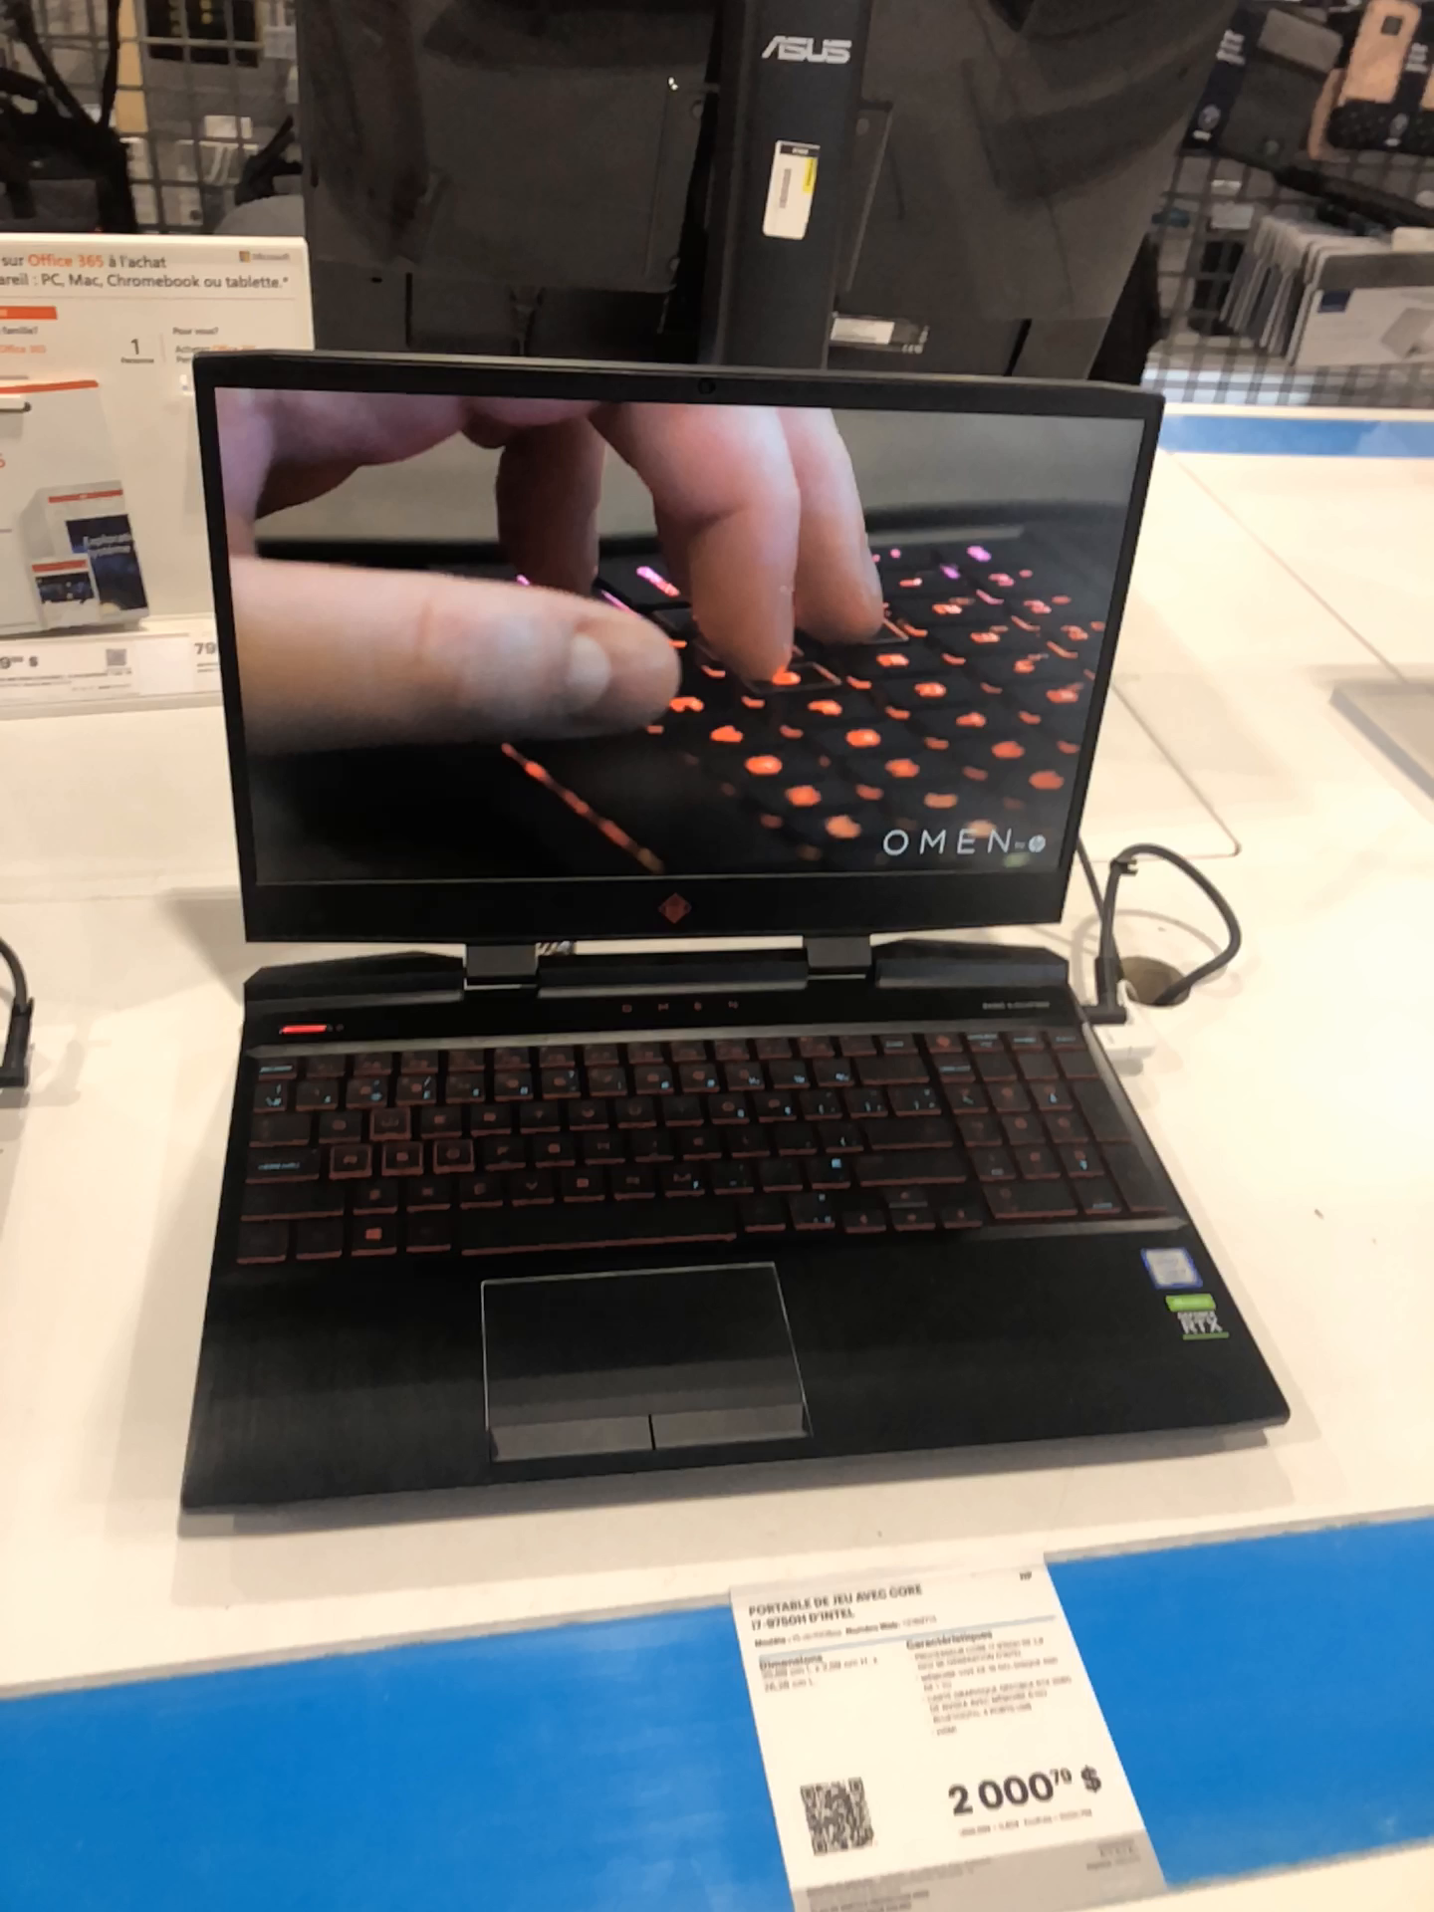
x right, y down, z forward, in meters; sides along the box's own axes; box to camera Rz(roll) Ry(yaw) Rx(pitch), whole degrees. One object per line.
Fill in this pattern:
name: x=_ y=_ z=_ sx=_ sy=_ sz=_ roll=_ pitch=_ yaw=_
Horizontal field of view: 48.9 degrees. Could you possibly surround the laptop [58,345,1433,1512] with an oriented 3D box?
laptop: x=0.005 y=-0.030 z=0.544 sx=0.355 sy=0.239 sz=0.294 roll=-2 pitch=39 yaw=-10
